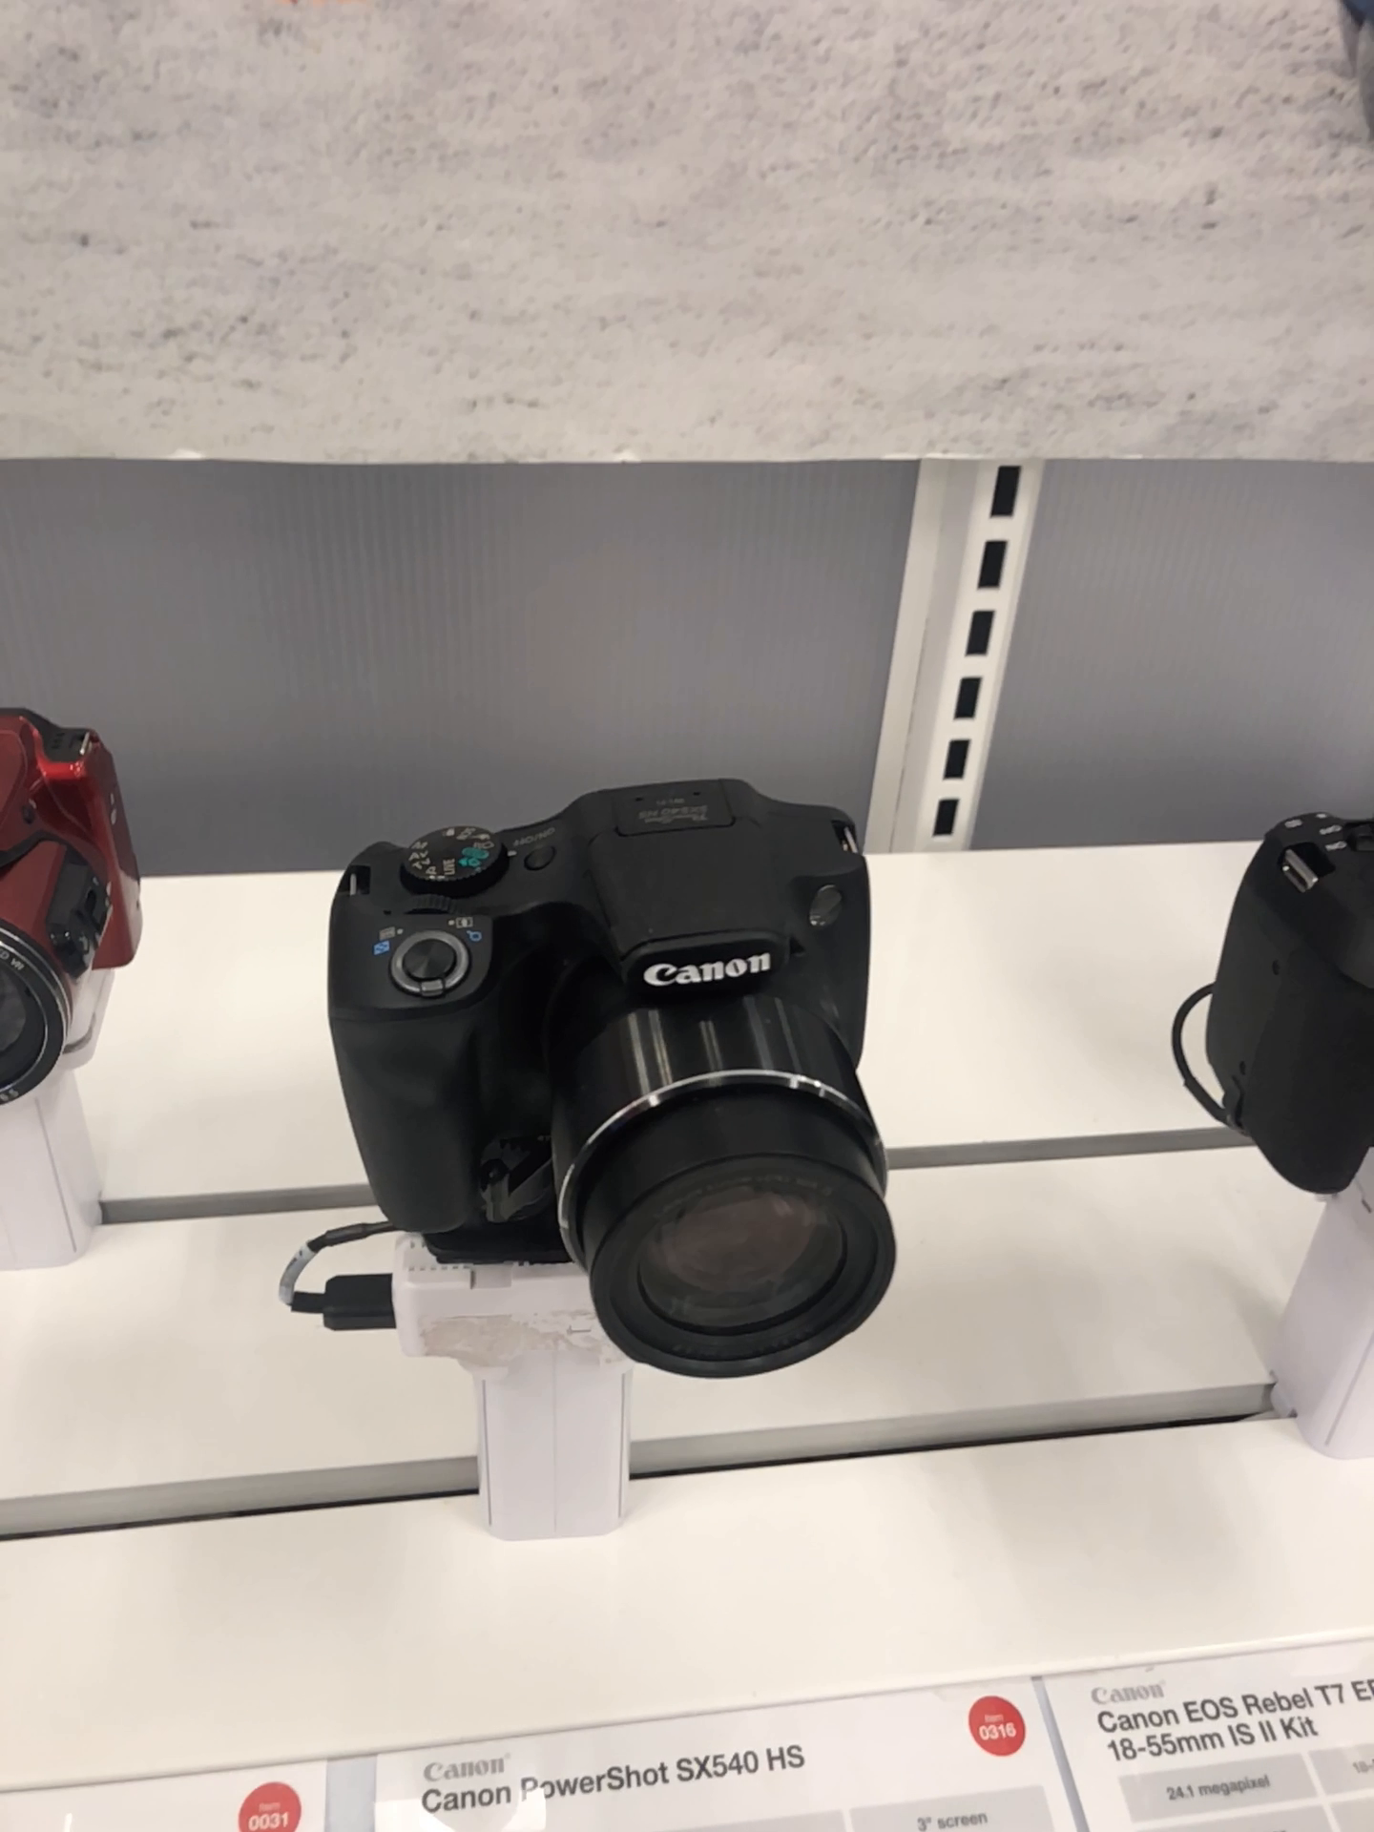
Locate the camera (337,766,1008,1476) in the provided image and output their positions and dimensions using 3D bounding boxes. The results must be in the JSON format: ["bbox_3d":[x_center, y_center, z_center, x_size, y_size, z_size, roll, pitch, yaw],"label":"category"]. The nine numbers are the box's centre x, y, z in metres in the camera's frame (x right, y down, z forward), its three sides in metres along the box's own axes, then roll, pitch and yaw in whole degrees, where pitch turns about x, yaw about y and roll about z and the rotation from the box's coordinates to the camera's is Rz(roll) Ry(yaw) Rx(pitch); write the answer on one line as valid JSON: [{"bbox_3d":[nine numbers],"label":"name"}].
[{"bbox_3d":[-0.011,0.032,0.285,0.100,0.076,0.099,-4,37,-11],"label":"camera"}]
